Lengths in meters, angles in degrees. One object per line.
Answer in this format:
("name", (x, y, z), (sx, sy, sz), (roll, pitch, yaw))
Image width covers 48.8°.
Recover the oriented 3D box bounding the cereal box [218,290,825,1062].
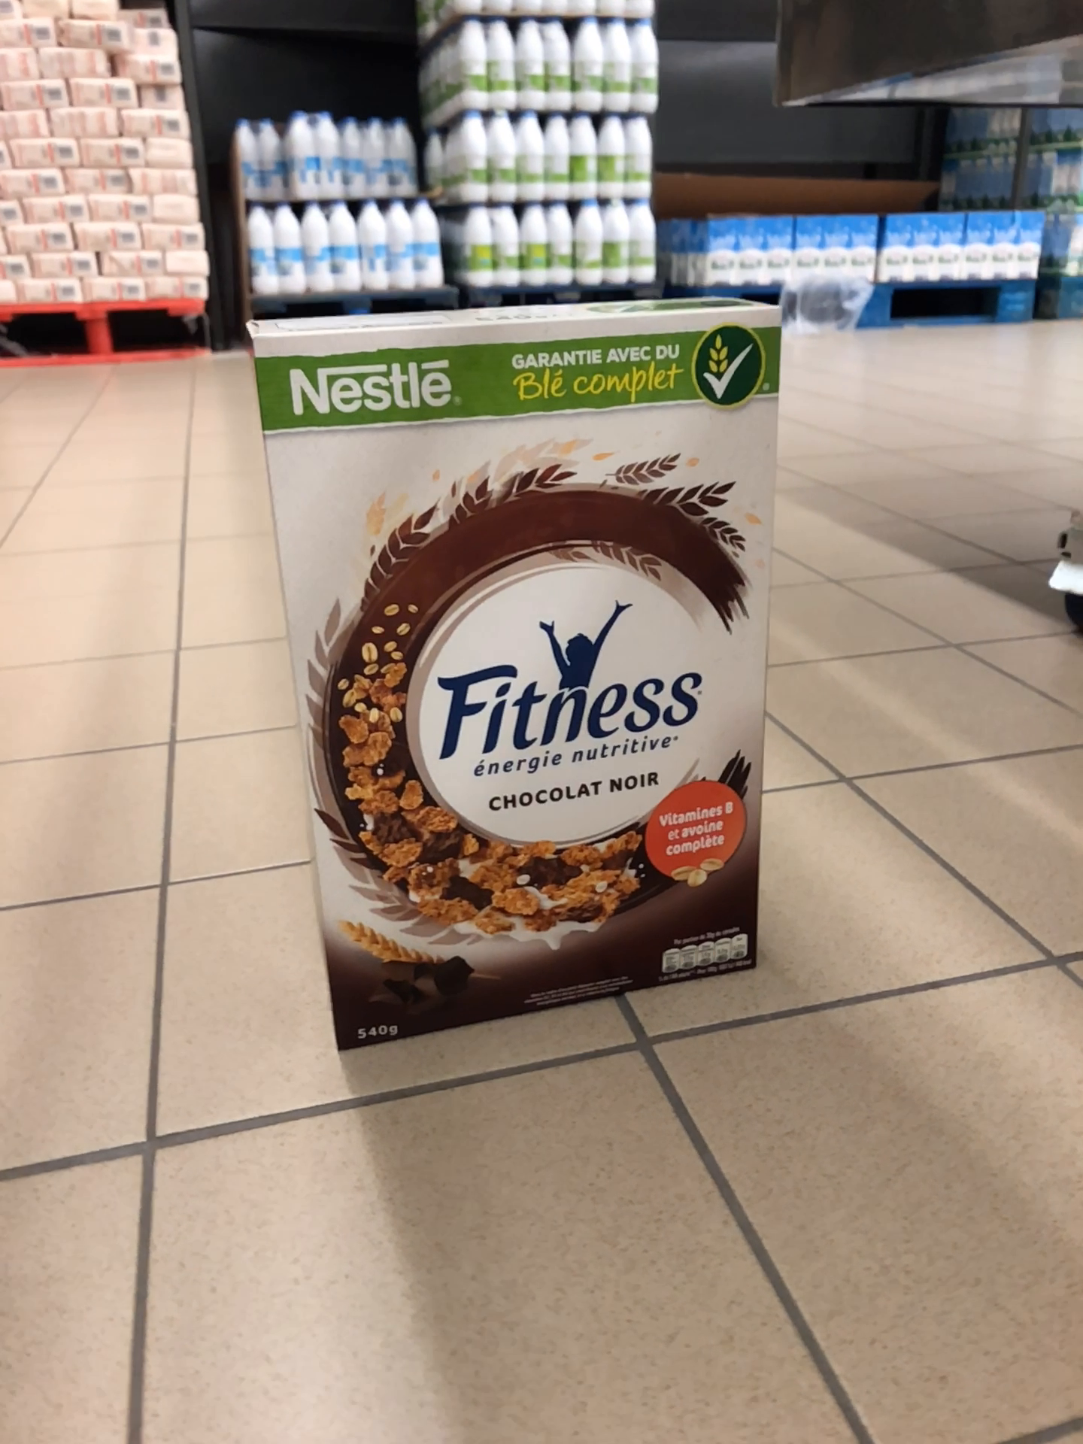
("cereal box", (-0.004, -0.022, 0.488), (0.210, 0.279, 0.080), (-8, 22, -13))
